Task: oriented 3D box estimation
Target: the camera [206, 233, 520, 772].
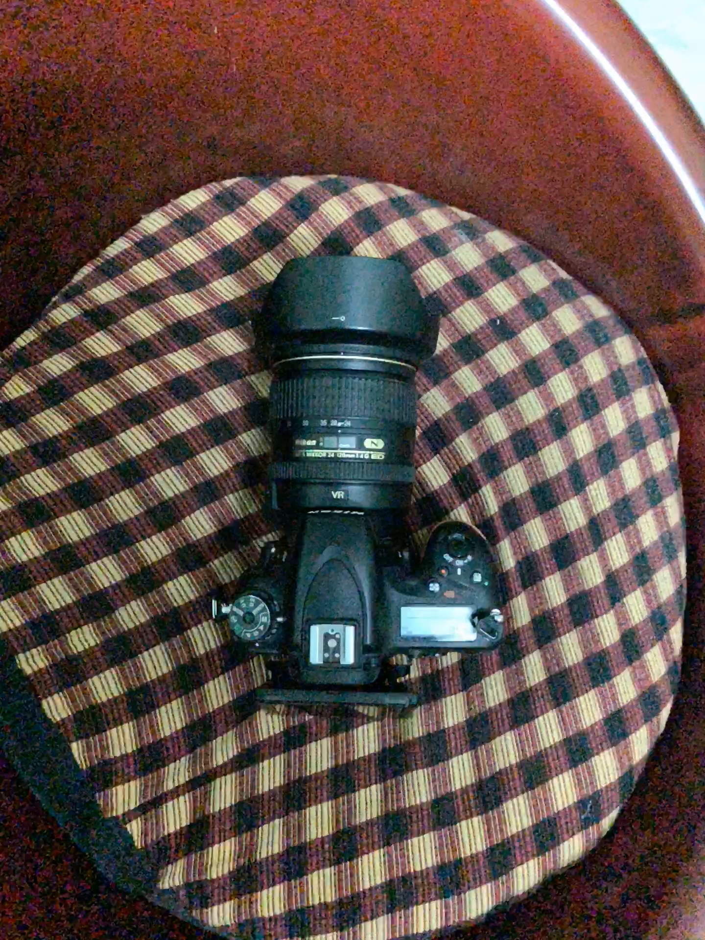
[{"bbox_3d":[0.010,0.015,0.389,0.140,0.102,0.250,1,83,3],"label":"camera"}]
